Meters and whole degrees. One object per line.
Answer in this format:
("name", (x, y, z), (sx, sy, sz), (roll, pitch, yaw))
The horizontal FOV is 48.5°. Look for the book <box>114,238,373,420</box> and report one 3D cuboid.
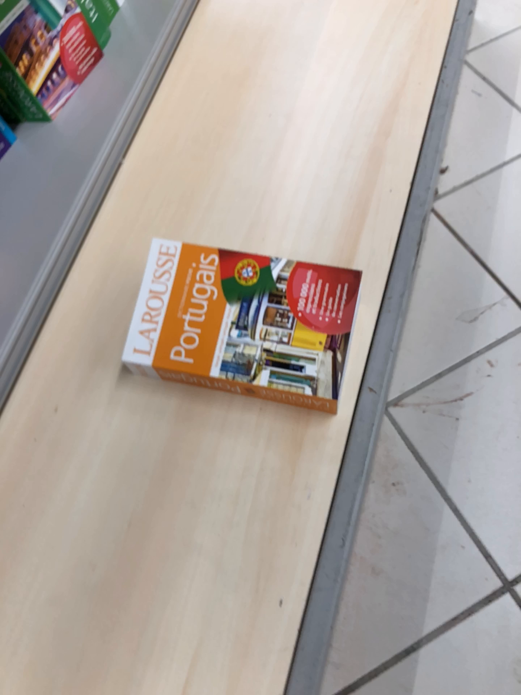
("book", (-0.009, -0.019, 0.480), (0.185, 0.046, 0.118), (9, 64, 11))
